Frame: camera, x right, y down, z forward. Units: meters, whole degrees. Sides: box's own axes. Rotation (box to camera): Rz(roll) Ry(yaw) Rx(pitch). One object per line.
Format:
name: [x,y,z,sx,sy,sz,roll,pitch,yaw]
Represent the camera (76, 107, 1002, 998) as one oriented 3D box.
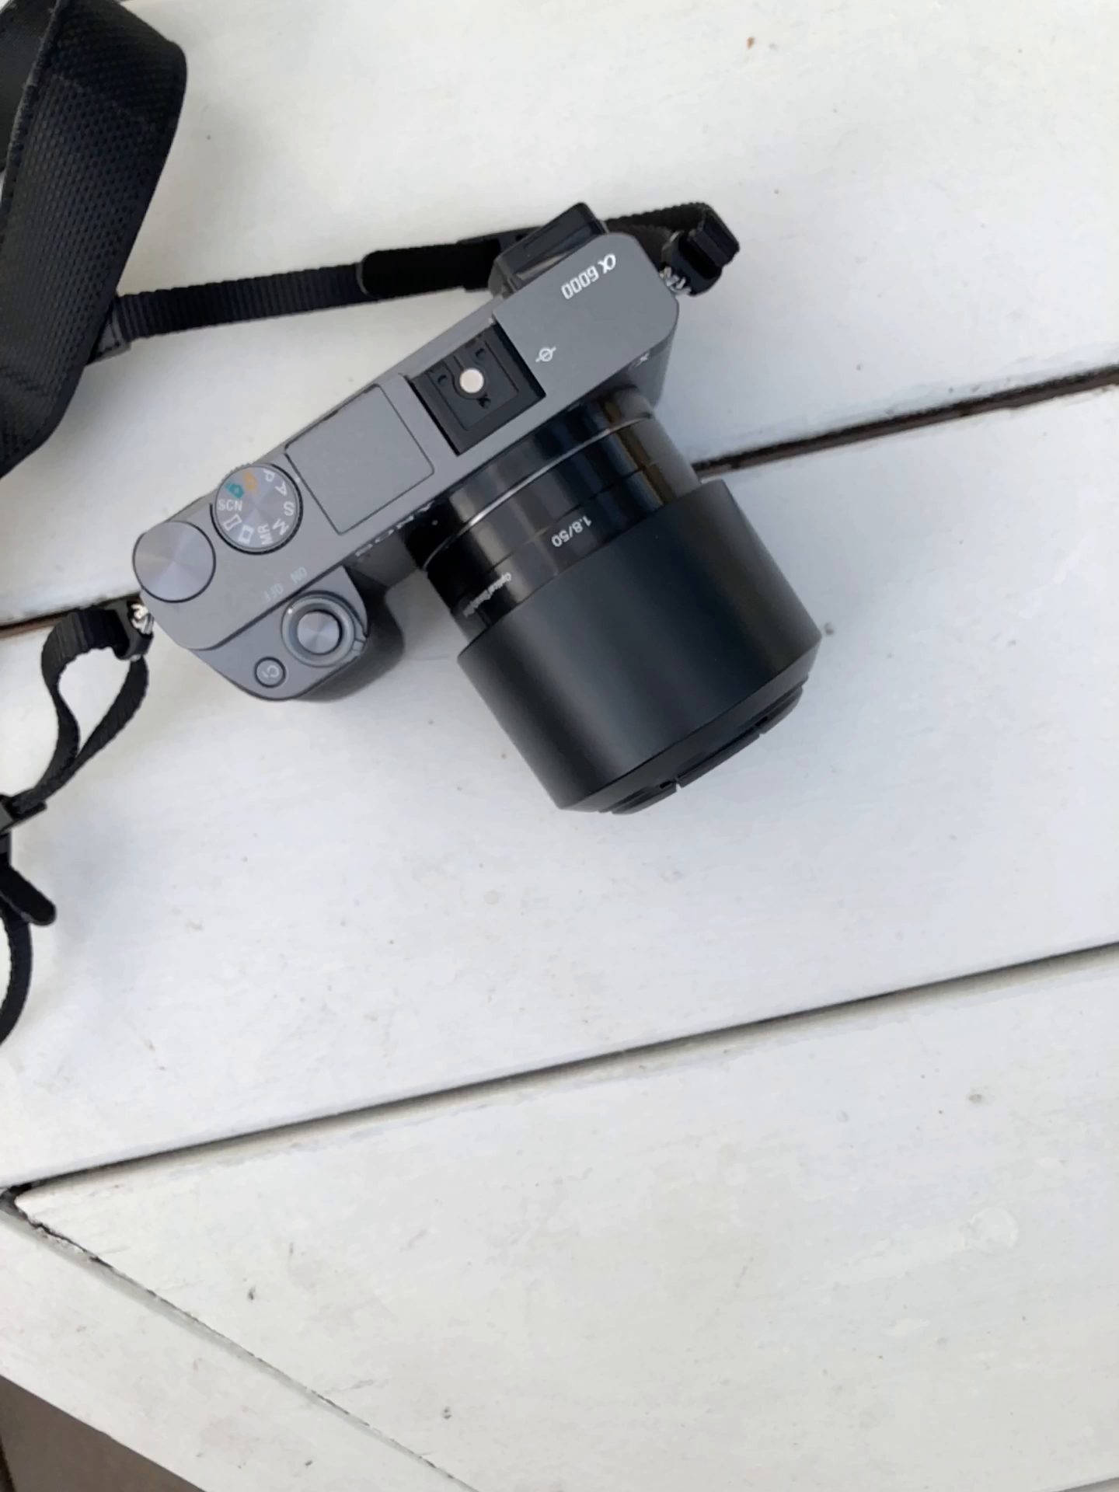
camera: [-0.004,-0.037,0.275,0.140,0.070,0.110,-35,92,1]
